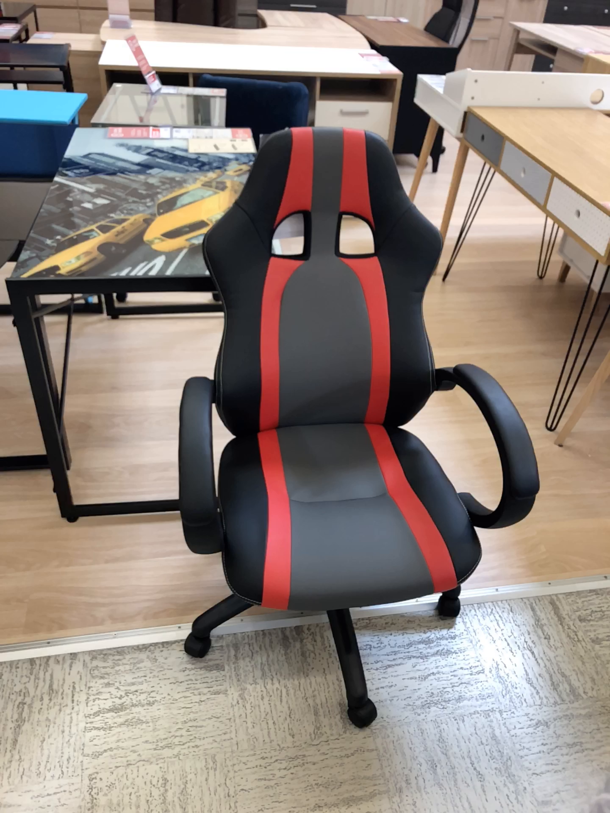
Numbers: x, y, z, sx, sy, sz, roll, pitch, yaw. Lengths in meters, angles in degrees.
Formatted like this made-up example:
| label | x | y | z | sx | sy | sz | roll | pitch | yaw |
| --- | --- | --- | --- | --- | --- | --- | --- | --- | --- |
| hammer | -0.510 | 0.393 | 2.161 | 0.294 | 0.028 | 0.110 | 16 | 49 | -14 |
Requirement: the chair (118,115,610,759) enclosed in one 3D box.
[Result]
| label | x | y | z | sx | sy | sz | roll | pitch | yaw |
| --- | --- | --- | --- | --- | --- | --- | --- | --- | --- |
| chair | 0.077 | 0.036 | 1.261 | 0.691 | 0.924 | 0.694 | -3 | 36 | -9 |
